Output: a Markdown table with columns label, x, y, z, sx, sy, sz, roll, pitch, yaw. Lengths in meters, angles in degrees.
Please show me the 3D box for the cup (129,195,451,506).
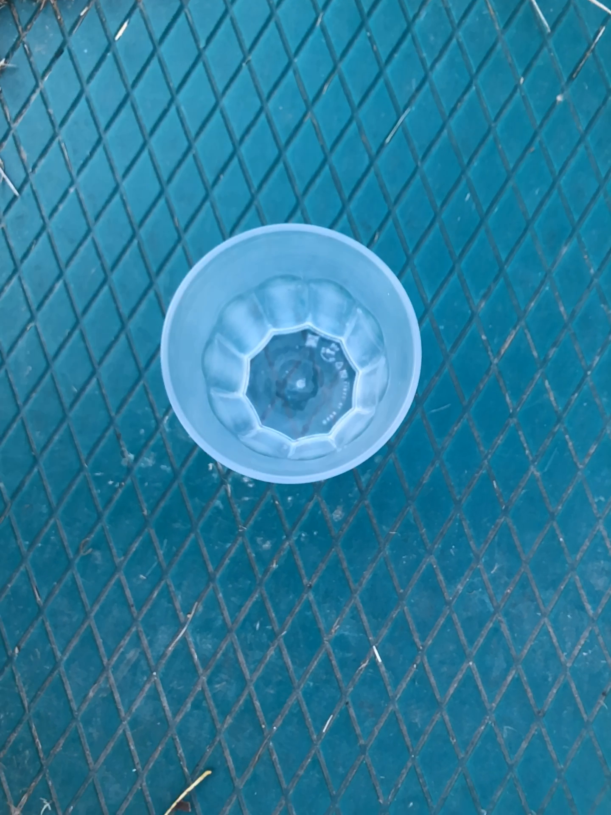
| label | x | y | z | sx | sy | sz | roll | pitch | yaw |
| --- | --- | --- | --- | --- | --- | --- | --- | --- | --- |
| cup | -0.006 | -0.016 | 0.285 | 0.091 | 0.113 | 0.087 | 0 | 86 | 0 |
